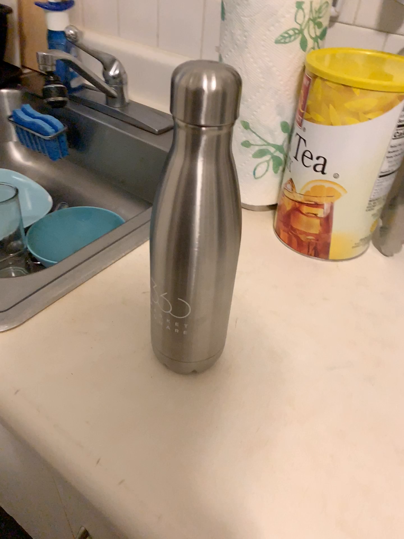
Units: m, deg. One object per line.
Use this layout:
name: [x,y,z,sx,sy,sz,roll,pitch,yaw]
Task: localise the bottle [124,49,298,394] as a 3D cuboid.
bottle: [-0.004,-0.019,0.316,0.070,0.249,0.070,3,40,-3]
